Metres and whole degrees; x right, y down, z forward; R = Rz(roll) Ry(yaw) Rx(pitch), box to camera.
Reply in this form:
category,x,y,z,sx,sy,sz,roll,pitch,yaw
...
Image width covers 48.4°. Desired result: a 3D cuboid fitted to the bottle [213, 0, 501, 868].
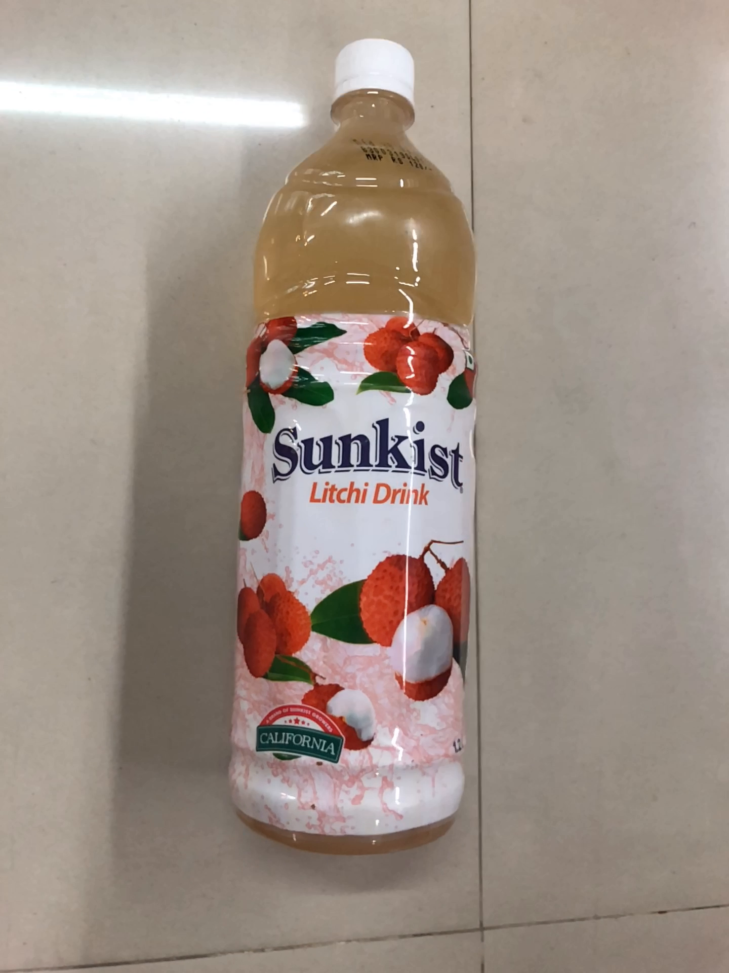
category,x,y,z,sx,sy,sz,roll,pitch,yaw
bottle,-0.006,-0.027,0.308,0.090,0.080,0.300,1,88,-8
